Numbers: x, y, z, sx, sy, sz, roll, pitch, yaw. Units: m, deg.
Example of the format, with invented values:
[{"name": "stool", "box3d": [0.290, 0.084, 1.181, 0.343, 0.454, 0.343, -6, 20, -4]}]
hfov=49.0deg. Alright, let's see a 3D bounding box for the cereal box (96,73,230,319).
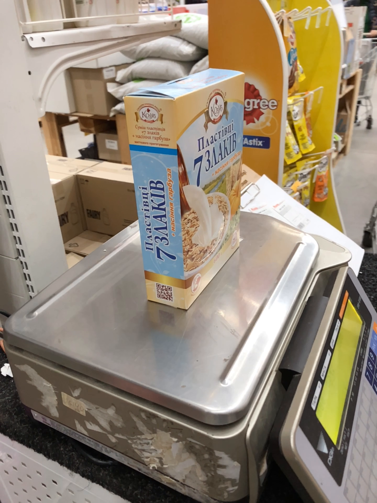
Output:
[{"name": "cereal box", "box3d": [-0.015, -0.069, 0.470, 0.060, 0.228, 0.161, 13, 32, 25]}]
